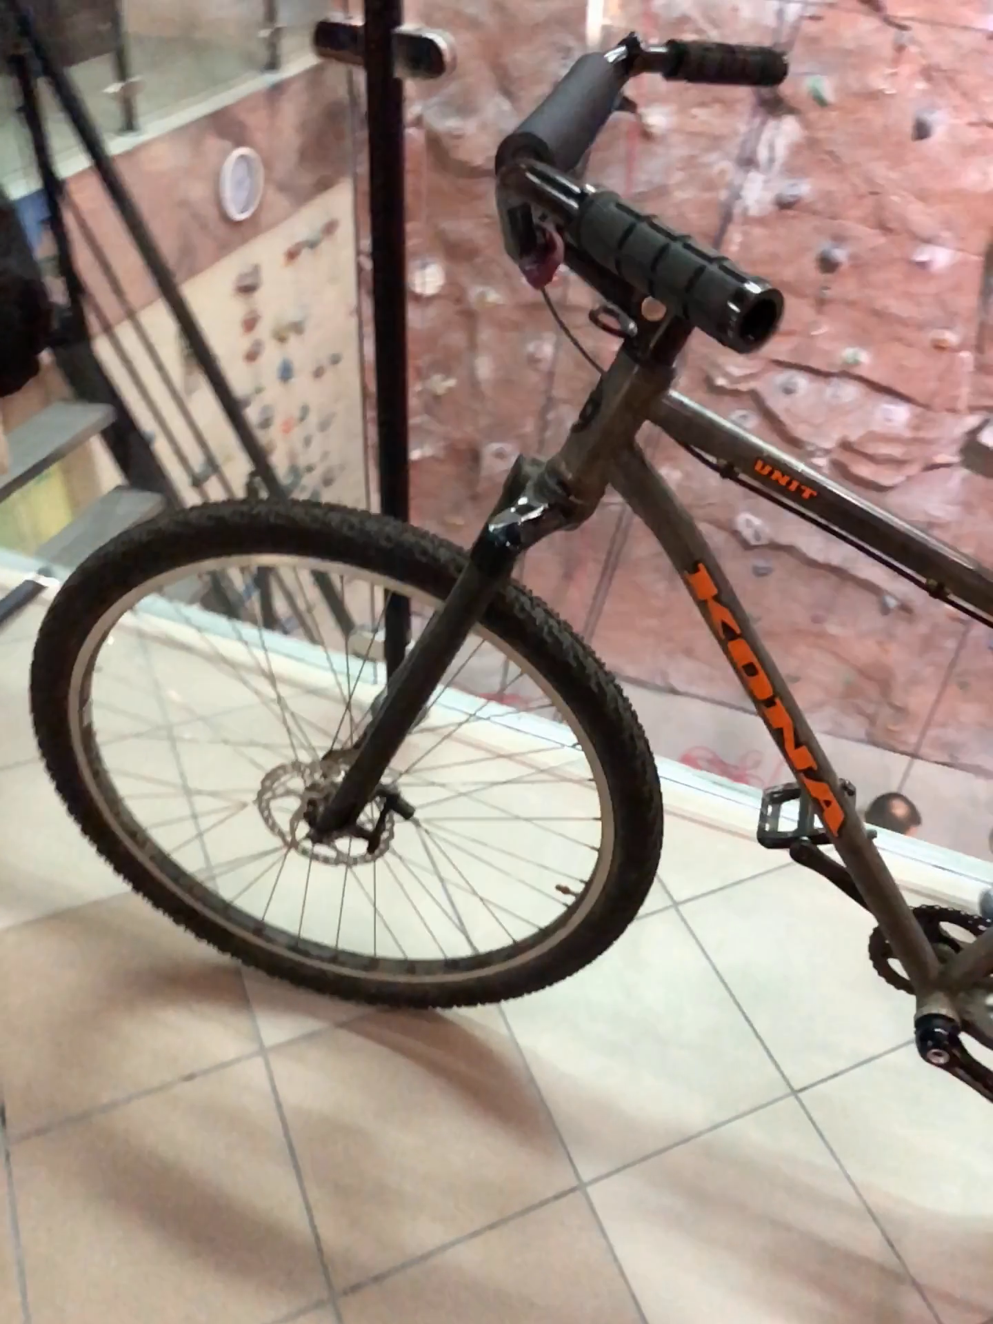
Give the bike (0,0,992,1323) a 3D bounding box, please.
[{"bbox_3d":[0.401,0.062,1.015,1.821,1.099,0.752,15,43,9],"label":"bike"}]
